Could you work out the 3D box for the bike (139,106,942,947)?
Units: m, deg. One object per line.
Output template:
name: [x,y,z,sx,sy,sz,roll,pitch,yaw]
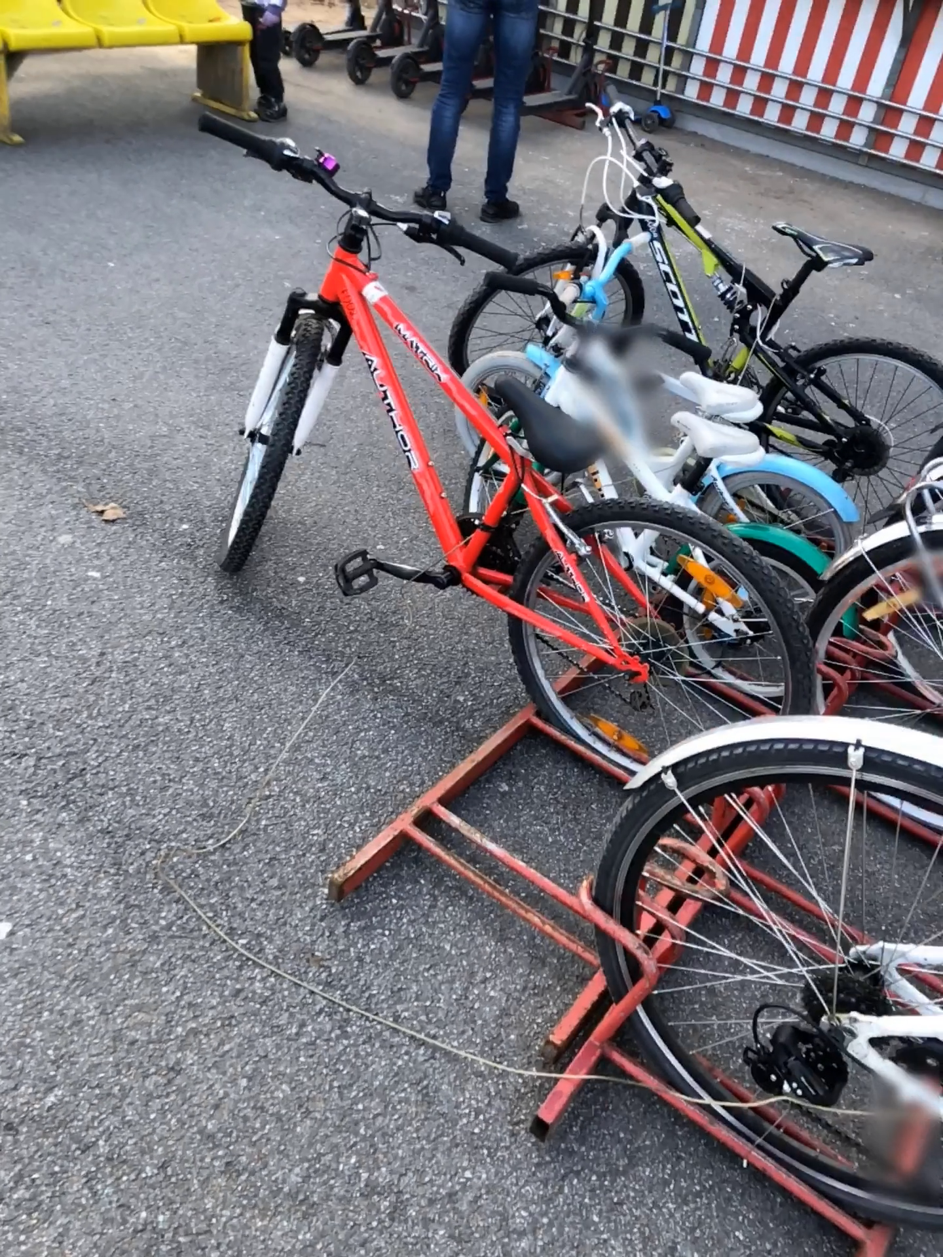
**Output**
bike: [0.026,-0.305,1.916,0.553,0.907,1.447,-27,50,-37]
